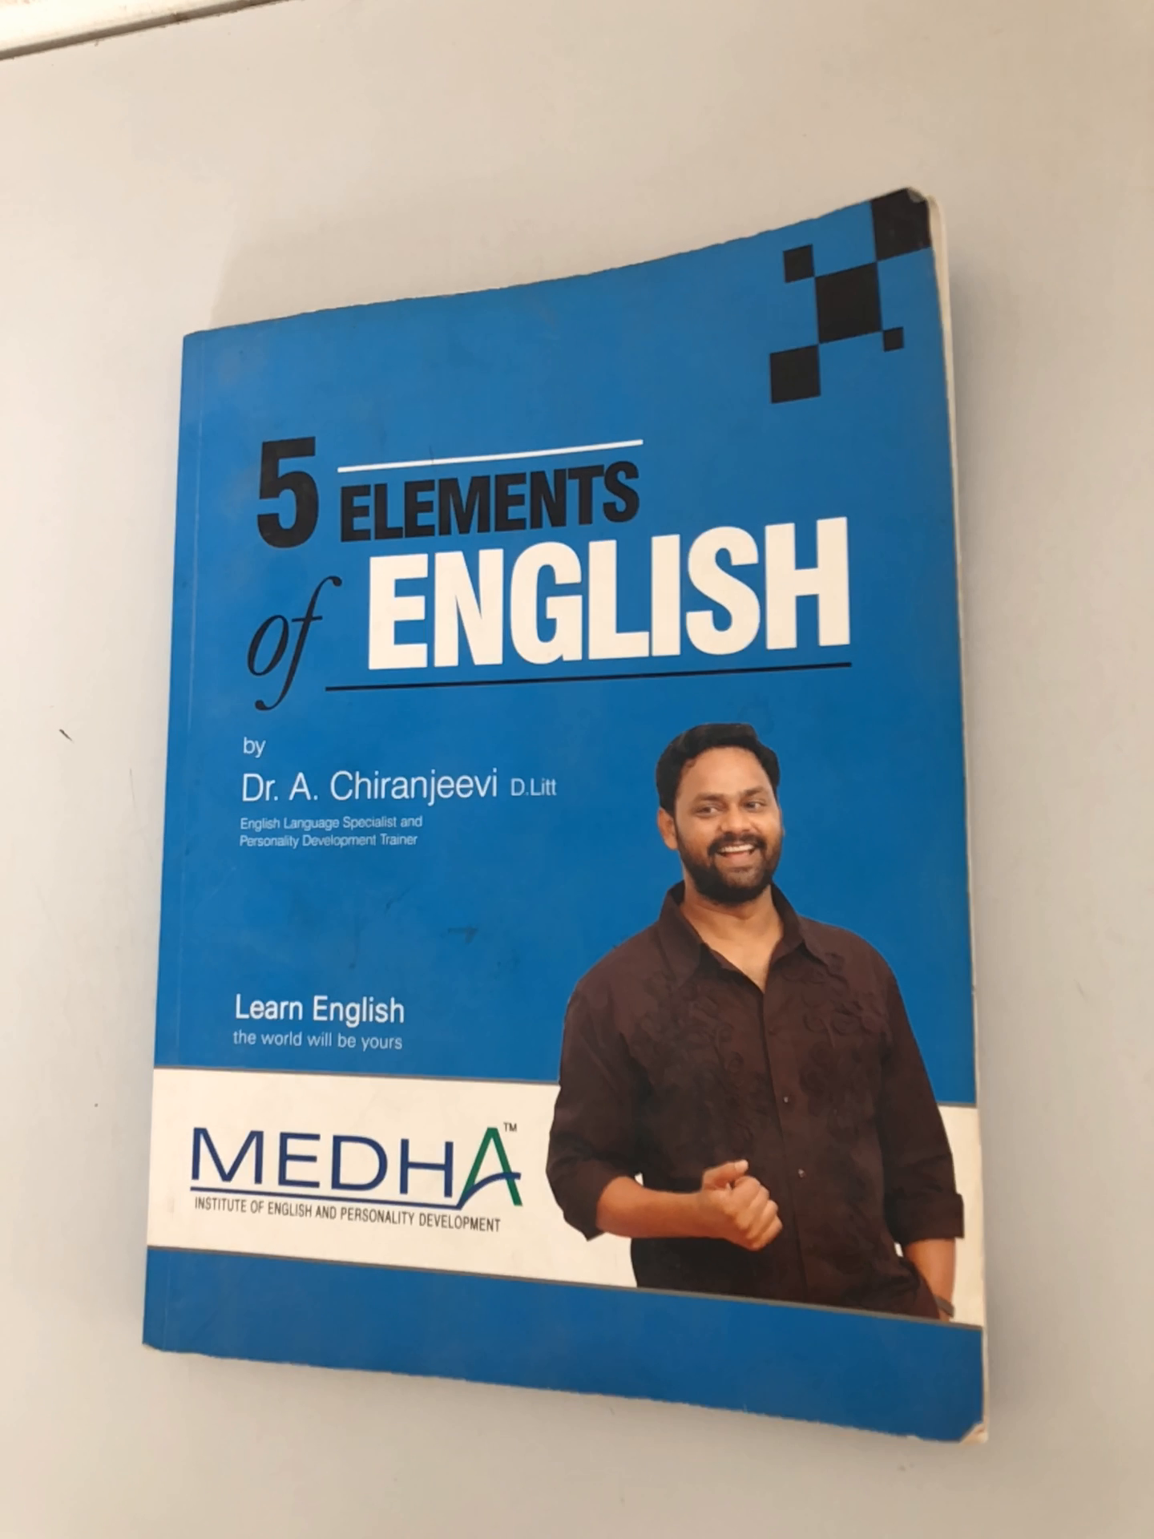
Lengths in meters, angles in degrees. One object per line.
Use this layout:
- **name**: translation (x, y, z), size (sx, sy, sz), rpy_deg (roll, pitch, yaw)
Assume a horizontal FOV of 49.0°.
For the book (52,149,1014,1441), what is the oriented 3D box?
- **book**: translation (-0.016, 0.002, 0.249), size (0.180, 0.020, 0.220), rpy_deg (-2, 83, 16)
